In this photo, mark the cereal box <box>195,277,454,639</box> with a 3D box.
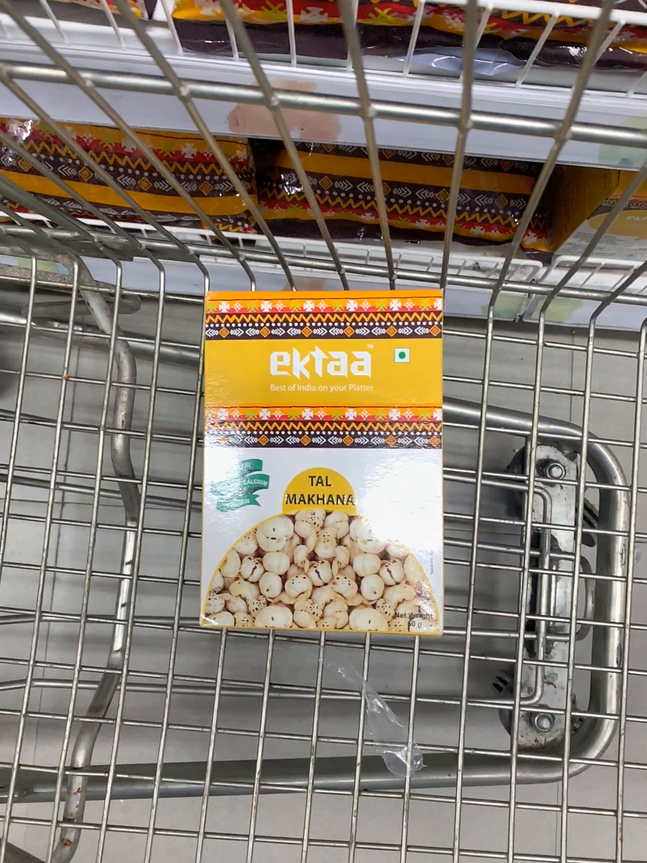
[{"bbox_3d":[0.004,0.013,0.372,0.130,0.070,0.180,1,89,7],"label":"cereal box"}]
